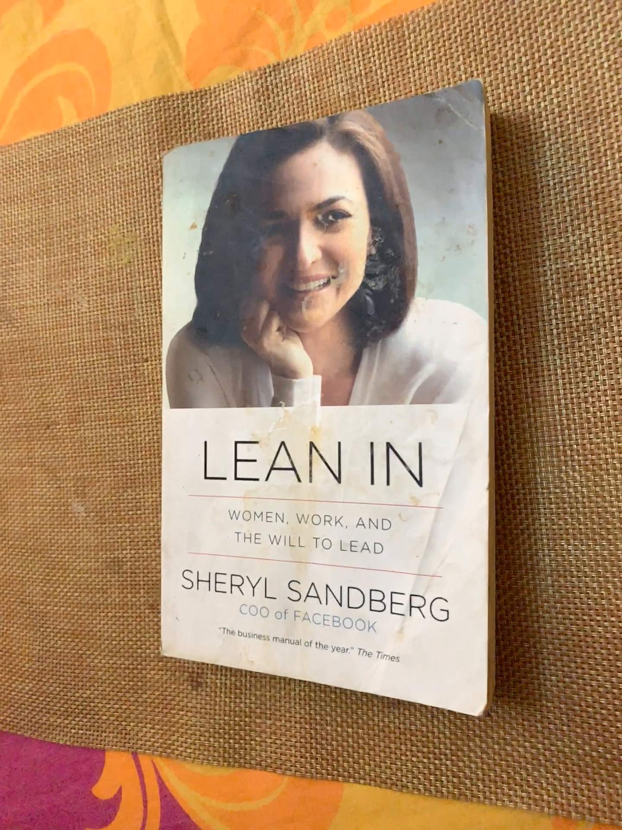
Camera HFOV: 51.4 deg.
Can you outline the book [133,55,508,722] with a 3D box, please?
[{"bbox_3d":[-0.004,-0.008,0.247,0.141,0.026,0.212,-3,86,25],"label":"book"}]
